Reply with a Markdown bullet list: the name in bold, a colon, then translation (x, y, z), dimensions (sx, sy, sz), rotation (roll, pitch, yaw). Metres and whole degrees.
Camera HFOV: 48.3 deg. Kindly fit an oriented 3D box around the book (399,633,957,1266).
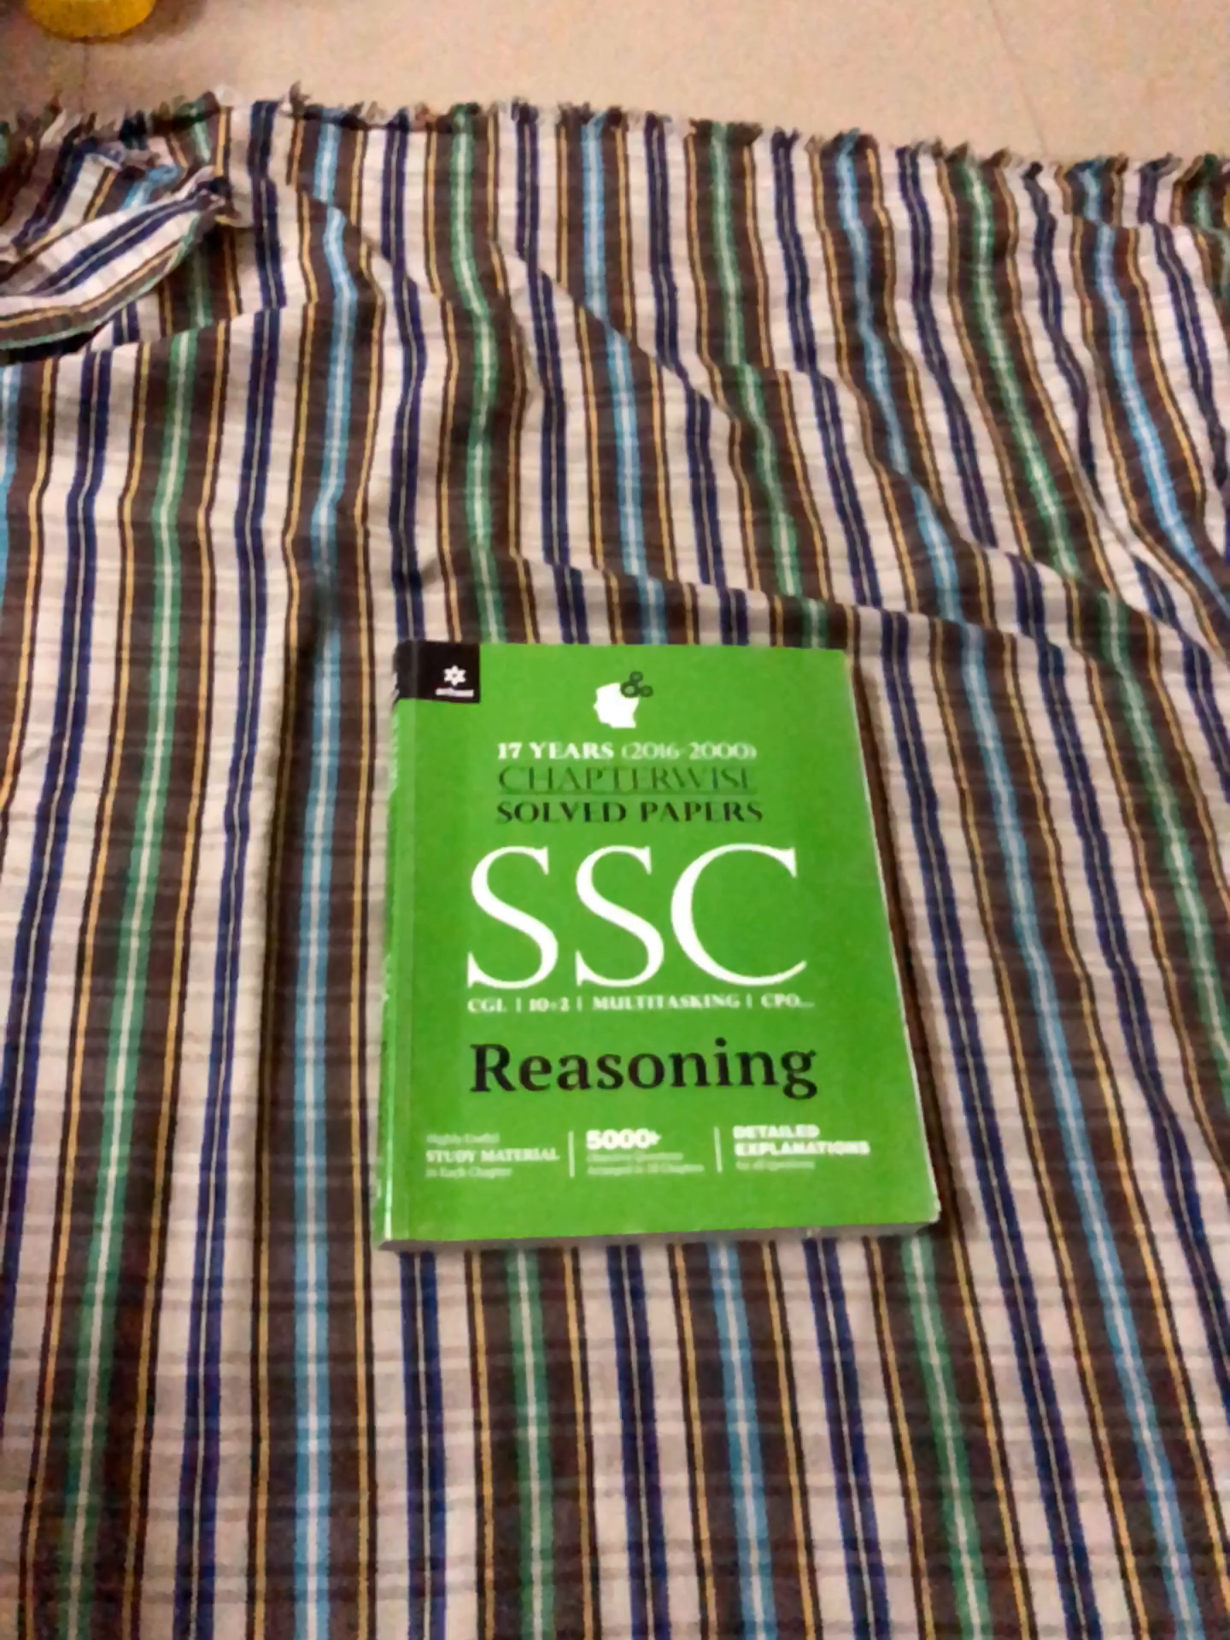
- **book**: translation (0.017, 0.044, 0.589), dimensions (0.210, 0.040, 0.270), rotation (0, 62, -7)
